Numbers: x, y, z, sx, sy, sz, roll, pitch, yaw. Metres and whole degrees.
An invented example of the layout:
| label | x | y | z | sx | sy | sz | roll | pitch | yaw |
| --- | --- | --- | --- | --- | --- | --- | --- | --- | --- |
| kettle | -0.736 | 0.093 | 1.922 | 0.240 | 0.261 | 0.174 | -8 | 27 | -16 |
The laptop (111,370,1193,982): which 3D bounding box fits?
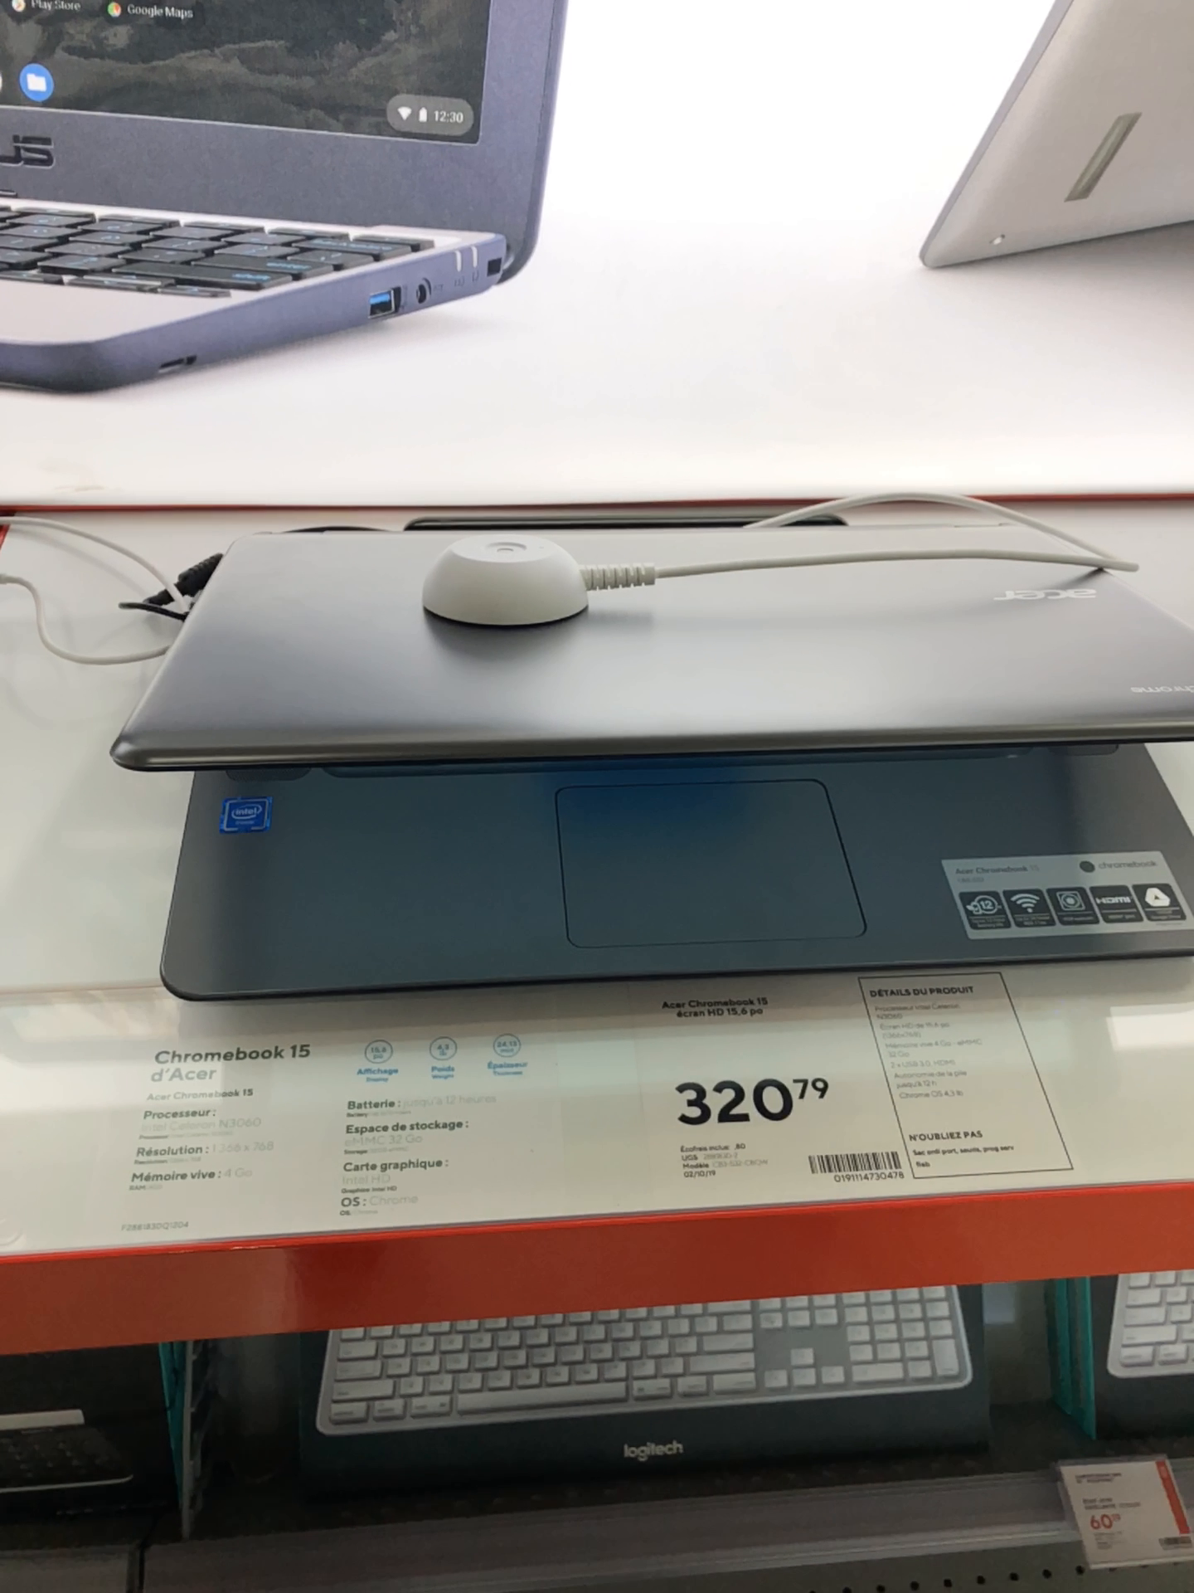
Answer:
| label | x | y | z | sx | sy | sz | roll | pitch | yaw |
| --- | --- | --- | --- | --- | --- | --- | --- | --- | --- |
| laptop | 0.035 | -0.062 | 0.500 | 0.369 | 0.088 | 0.249 | -2 | 45 | -5 |
